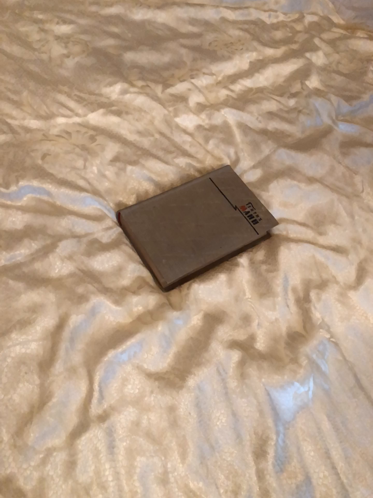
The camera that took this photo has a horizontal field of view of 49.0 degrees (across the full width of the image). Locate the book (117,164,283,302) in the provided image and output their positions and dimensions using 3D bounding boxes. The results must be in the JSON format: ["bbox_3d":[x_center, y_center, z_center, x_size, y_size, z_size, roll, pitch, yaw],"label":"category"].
[{"bbox_3d":[0.019,-0.033,0.633,0.208,0.051,0.142,-25,65,-23],"label":"book"}]
